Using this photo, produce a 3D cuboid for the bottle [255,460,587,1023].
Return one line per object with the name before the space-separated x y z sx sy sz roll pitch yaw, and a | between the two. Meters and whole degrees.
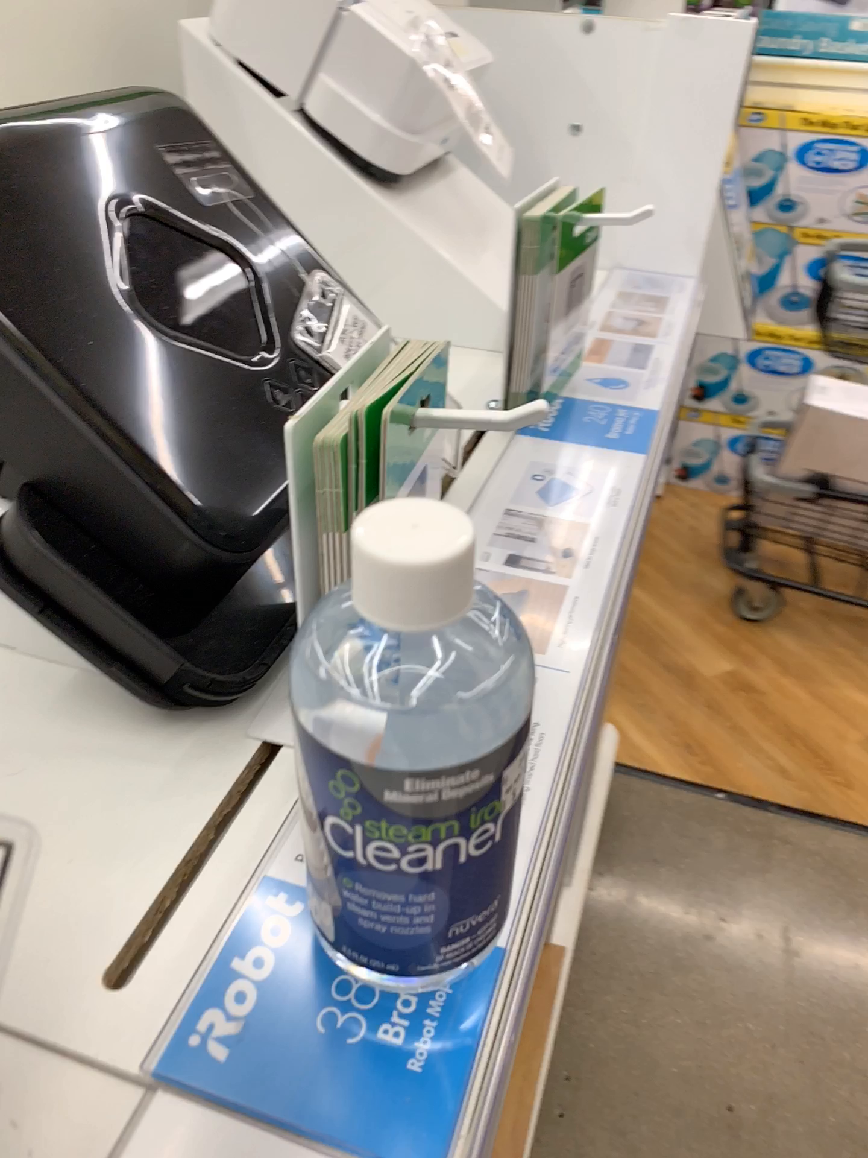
bottle | -0.007 0.043 0.222 0.060 0.129 0.060 2 34 -1
